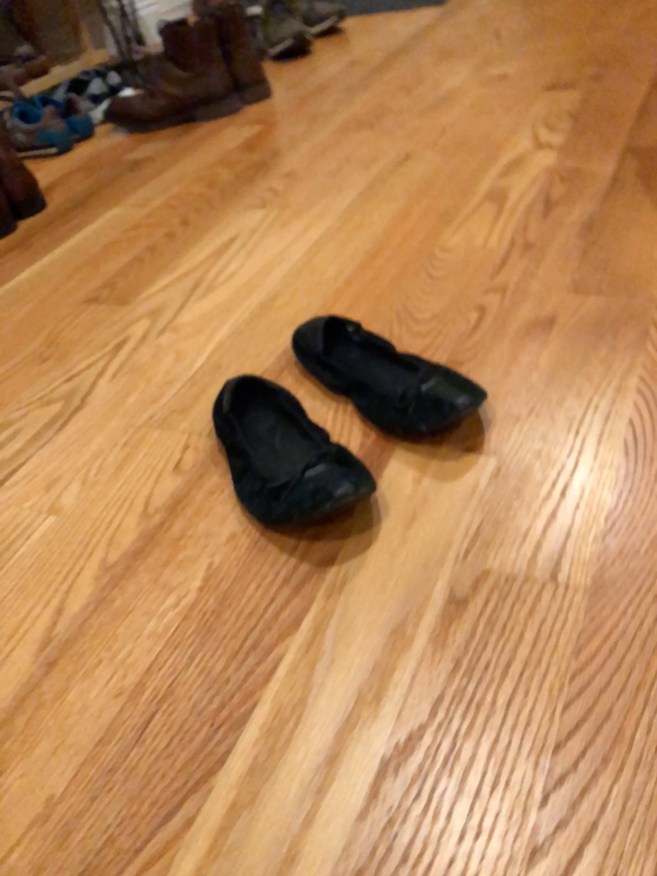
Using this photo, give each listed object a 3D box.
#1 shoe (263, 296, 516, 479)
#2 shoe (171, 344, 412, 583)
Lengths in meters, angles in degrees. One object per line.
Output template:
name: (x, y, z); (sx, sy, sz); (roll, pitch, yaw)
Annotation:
shoe: (0.045, -0.054, 0.635); (0.093, 0.046, 0.221); (-32, 41, -23)
shoe: (-0.038, 0.007, 0.584); (0.100, 0.050, 0.221); (-26, 39, -16)
